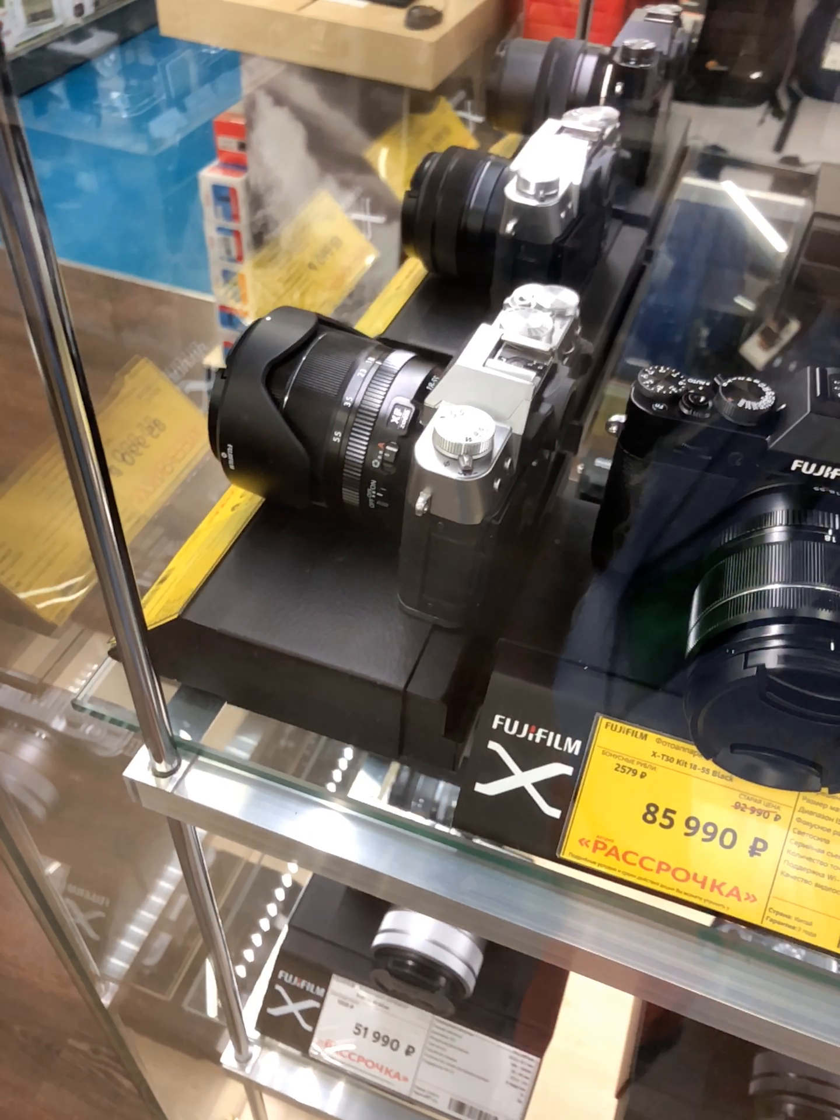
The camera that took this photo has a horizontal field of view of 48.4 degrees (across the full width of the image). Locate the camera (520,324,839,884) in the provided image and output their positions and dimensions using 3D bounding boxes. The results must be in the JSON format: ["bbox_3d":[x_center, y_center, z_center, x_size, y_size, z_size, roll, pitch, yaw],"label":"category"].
[{"bbox_3d":[0.124,0.008,0.309,0.144,0.088,0.123,16,47,11],"label":"camera"}]

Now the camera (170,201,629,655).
[{"bbox_3d":[-0.003,-0.055,0.350,0.120,0.088,0.121,17,48,12],"label":"camera"}]

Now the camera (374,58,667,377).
[{"bbox_3d":[0.052,-0.179,0.477,0.104,0.088,0.136,17,48,12],"label":"camera"}]
